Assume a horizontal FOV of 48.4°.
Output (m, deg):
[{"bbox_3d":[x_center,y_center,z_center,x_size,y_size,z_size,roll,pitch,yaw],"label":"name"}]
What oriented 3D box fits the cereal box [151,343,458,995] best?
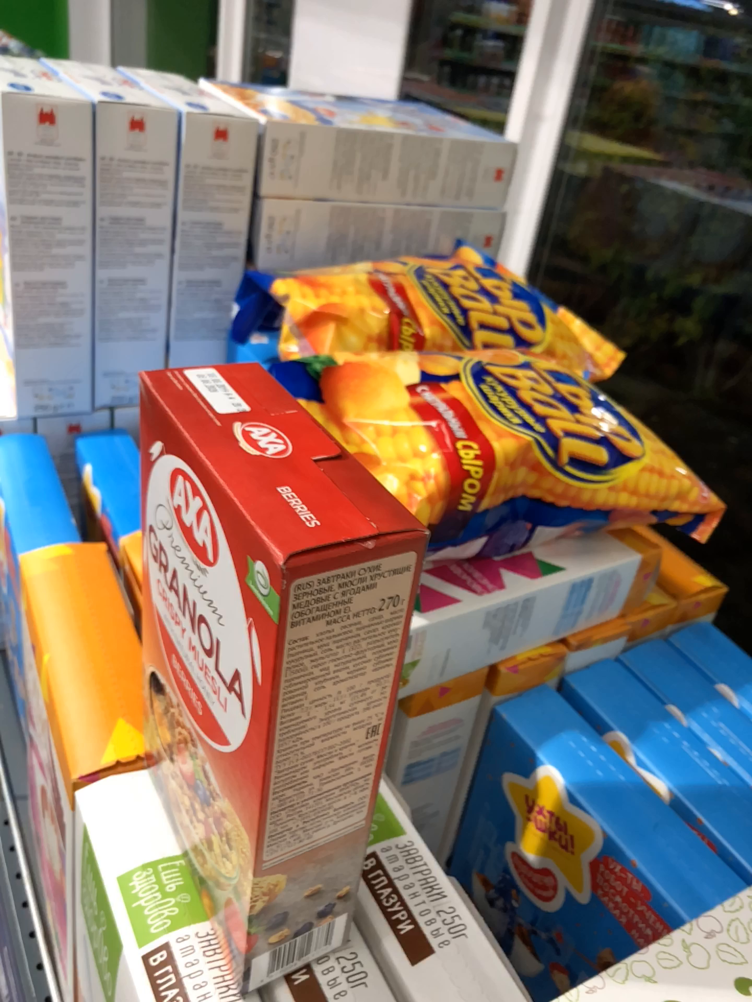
[{"bbox_3d":[-0.045,0.067,0.334,0.050,0.219,0.131,-11,37,-29],"label":"cereal box"}]
